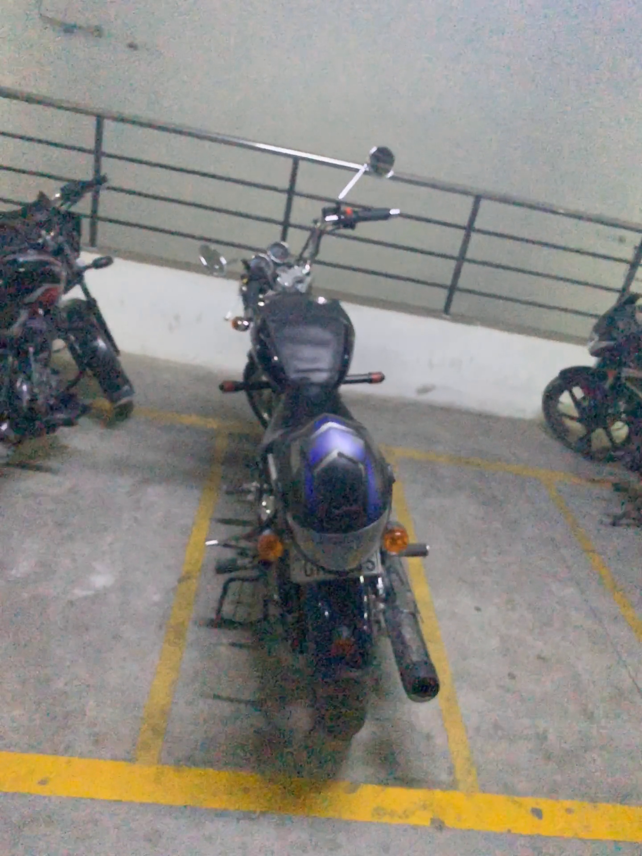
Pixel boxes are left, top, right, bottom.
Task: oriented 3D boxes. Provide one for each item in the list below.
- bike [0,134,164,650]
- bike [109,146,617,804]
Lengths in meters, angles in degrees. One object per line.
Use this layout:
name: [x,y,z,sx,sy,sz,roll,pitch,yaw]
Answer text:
bike: [-1.207,-0.303,2.309,0.593,1.193,1.510,16,26,7]
bike: [-0.183,-0.026,2.133,0.842,1.304,1.672,4,27,-17]
